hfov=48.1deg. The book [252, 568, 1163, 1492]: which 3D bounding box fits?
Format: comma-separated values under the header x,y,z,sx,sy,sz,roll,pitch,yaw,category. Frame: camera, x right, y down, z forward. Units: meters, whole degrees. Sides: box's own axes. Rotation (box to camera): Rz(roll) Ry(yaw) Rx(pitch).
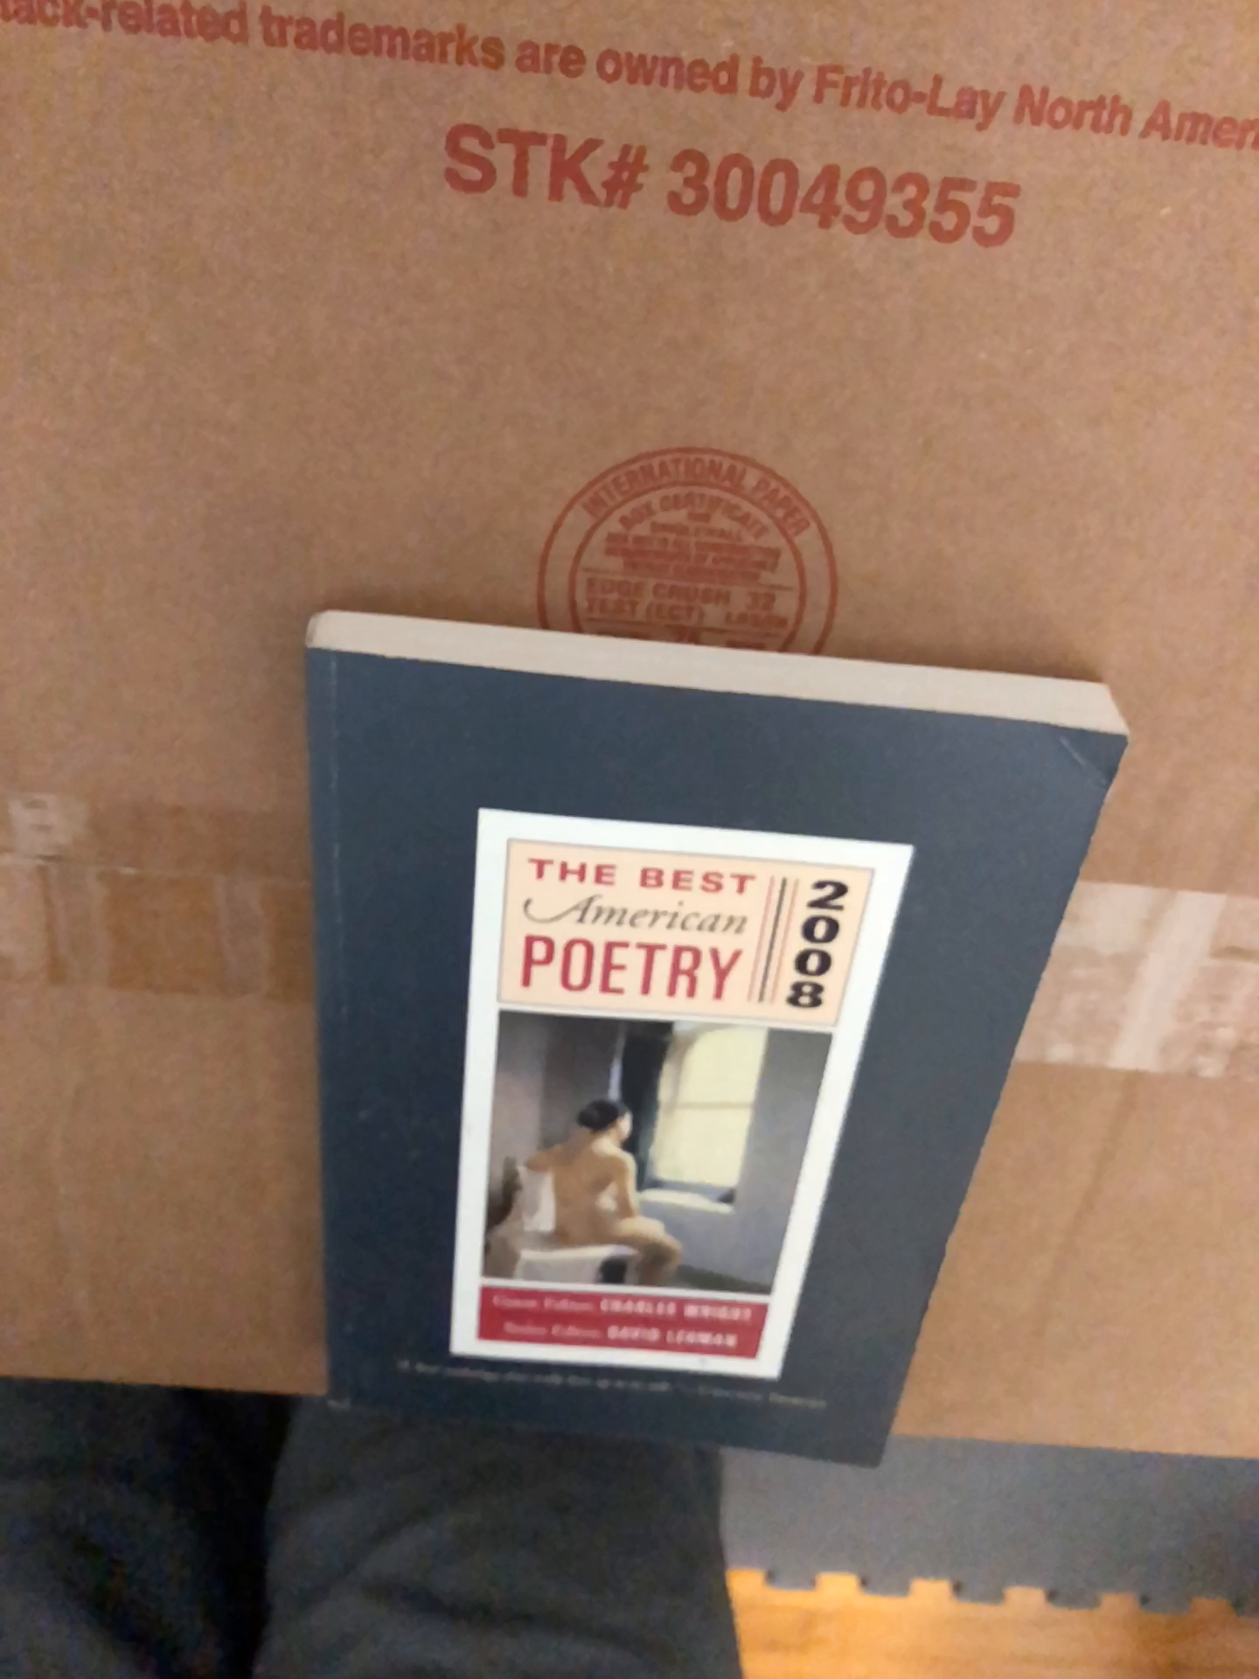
x,y,z,sx,sy,sz,roll,pitch,yaw,category
0.005,0.060,0.304,0.150,0.020,0.231,5,124,-1,book
